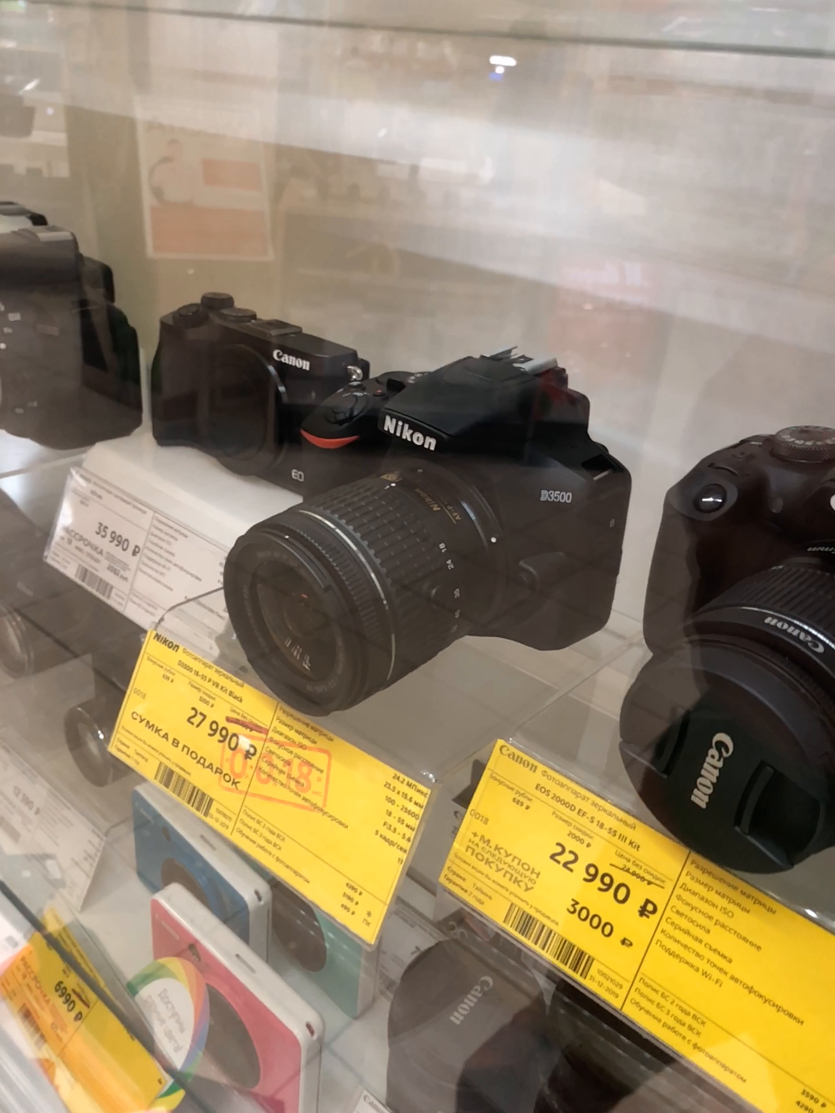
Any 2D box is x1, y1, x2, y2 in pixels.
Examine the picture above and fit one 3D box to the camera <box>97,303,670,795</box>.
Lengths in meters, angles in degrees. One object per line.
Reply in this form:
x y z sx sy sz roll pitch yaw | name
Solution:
-0.013 -0.018 0.306 0.130 0.092 0.120 25 33 34 | camera
